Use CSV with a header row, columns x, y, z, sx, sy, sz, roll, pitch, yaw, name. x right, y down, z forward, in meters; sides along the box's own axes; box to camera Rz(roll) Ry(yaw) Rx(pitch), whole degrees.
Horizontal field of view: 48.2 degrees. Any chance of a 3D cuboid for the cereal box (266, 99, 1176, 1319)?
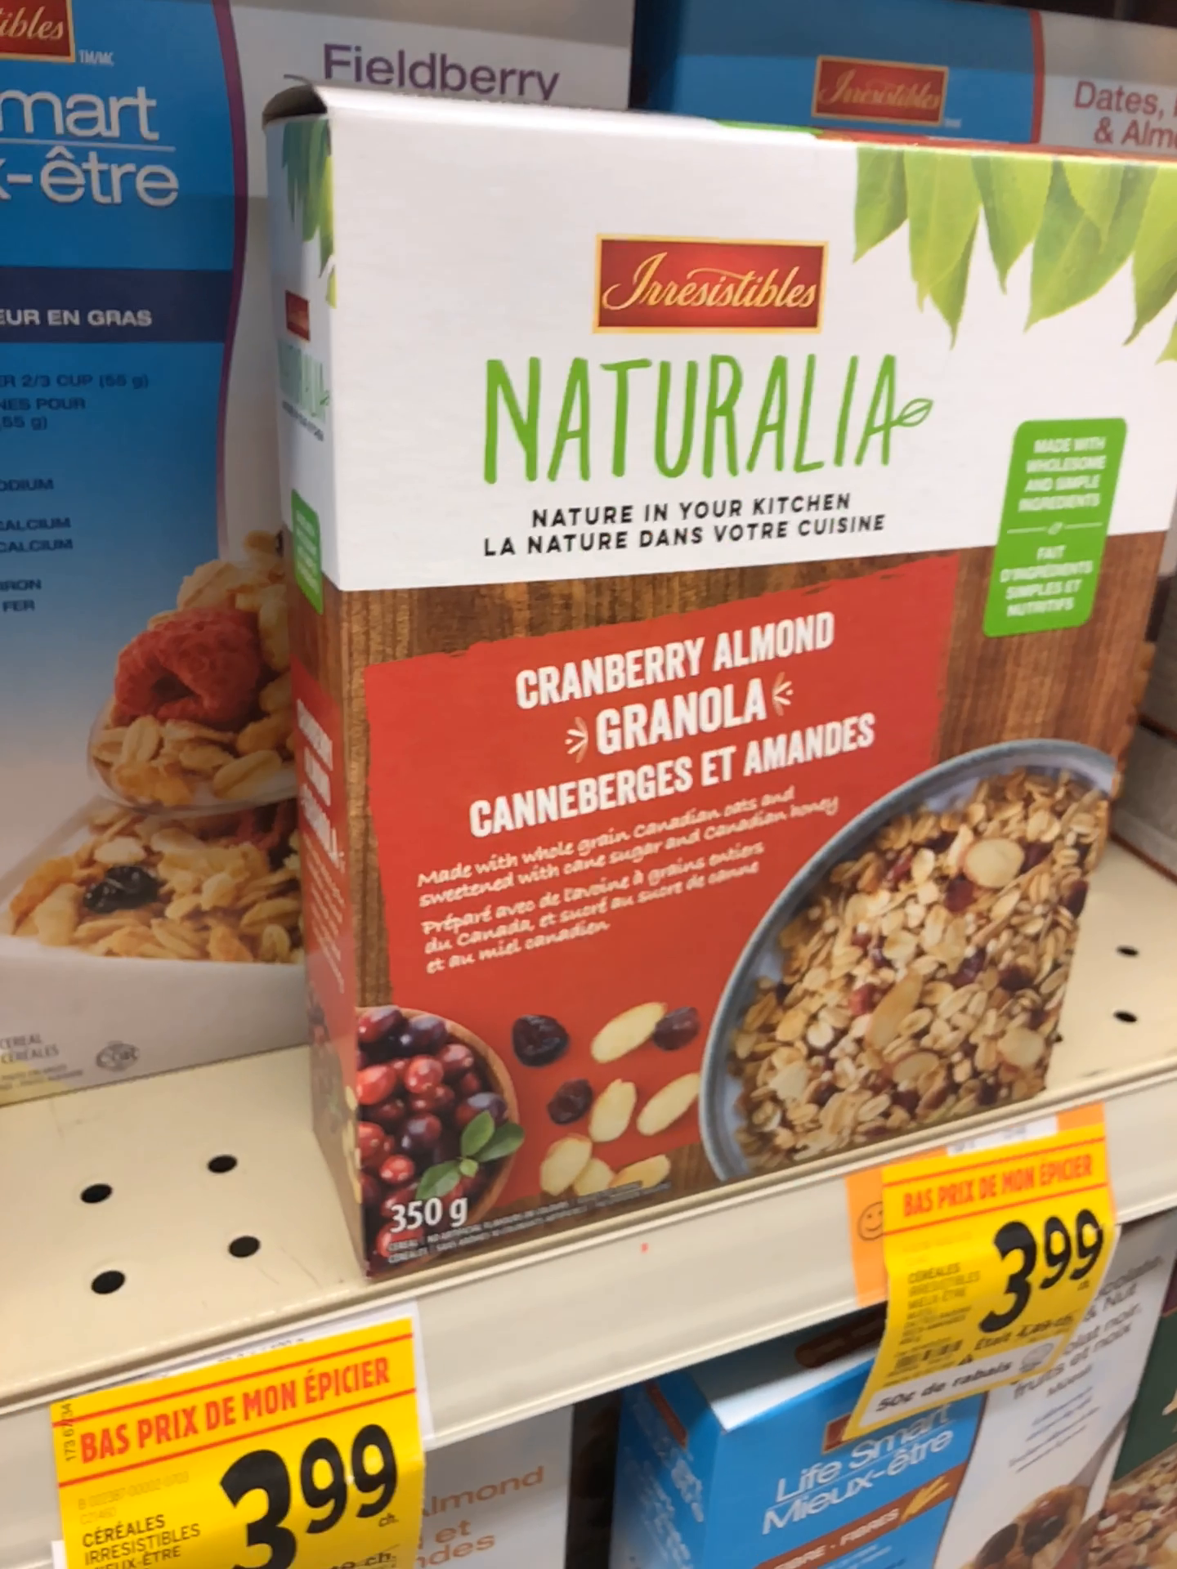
x,y,z,sx,sy,sz,roll,pitch,yaw,name
0.031,-0.015,0.265,0.170,0.208,0.060,-8,28,-23,cereal box
